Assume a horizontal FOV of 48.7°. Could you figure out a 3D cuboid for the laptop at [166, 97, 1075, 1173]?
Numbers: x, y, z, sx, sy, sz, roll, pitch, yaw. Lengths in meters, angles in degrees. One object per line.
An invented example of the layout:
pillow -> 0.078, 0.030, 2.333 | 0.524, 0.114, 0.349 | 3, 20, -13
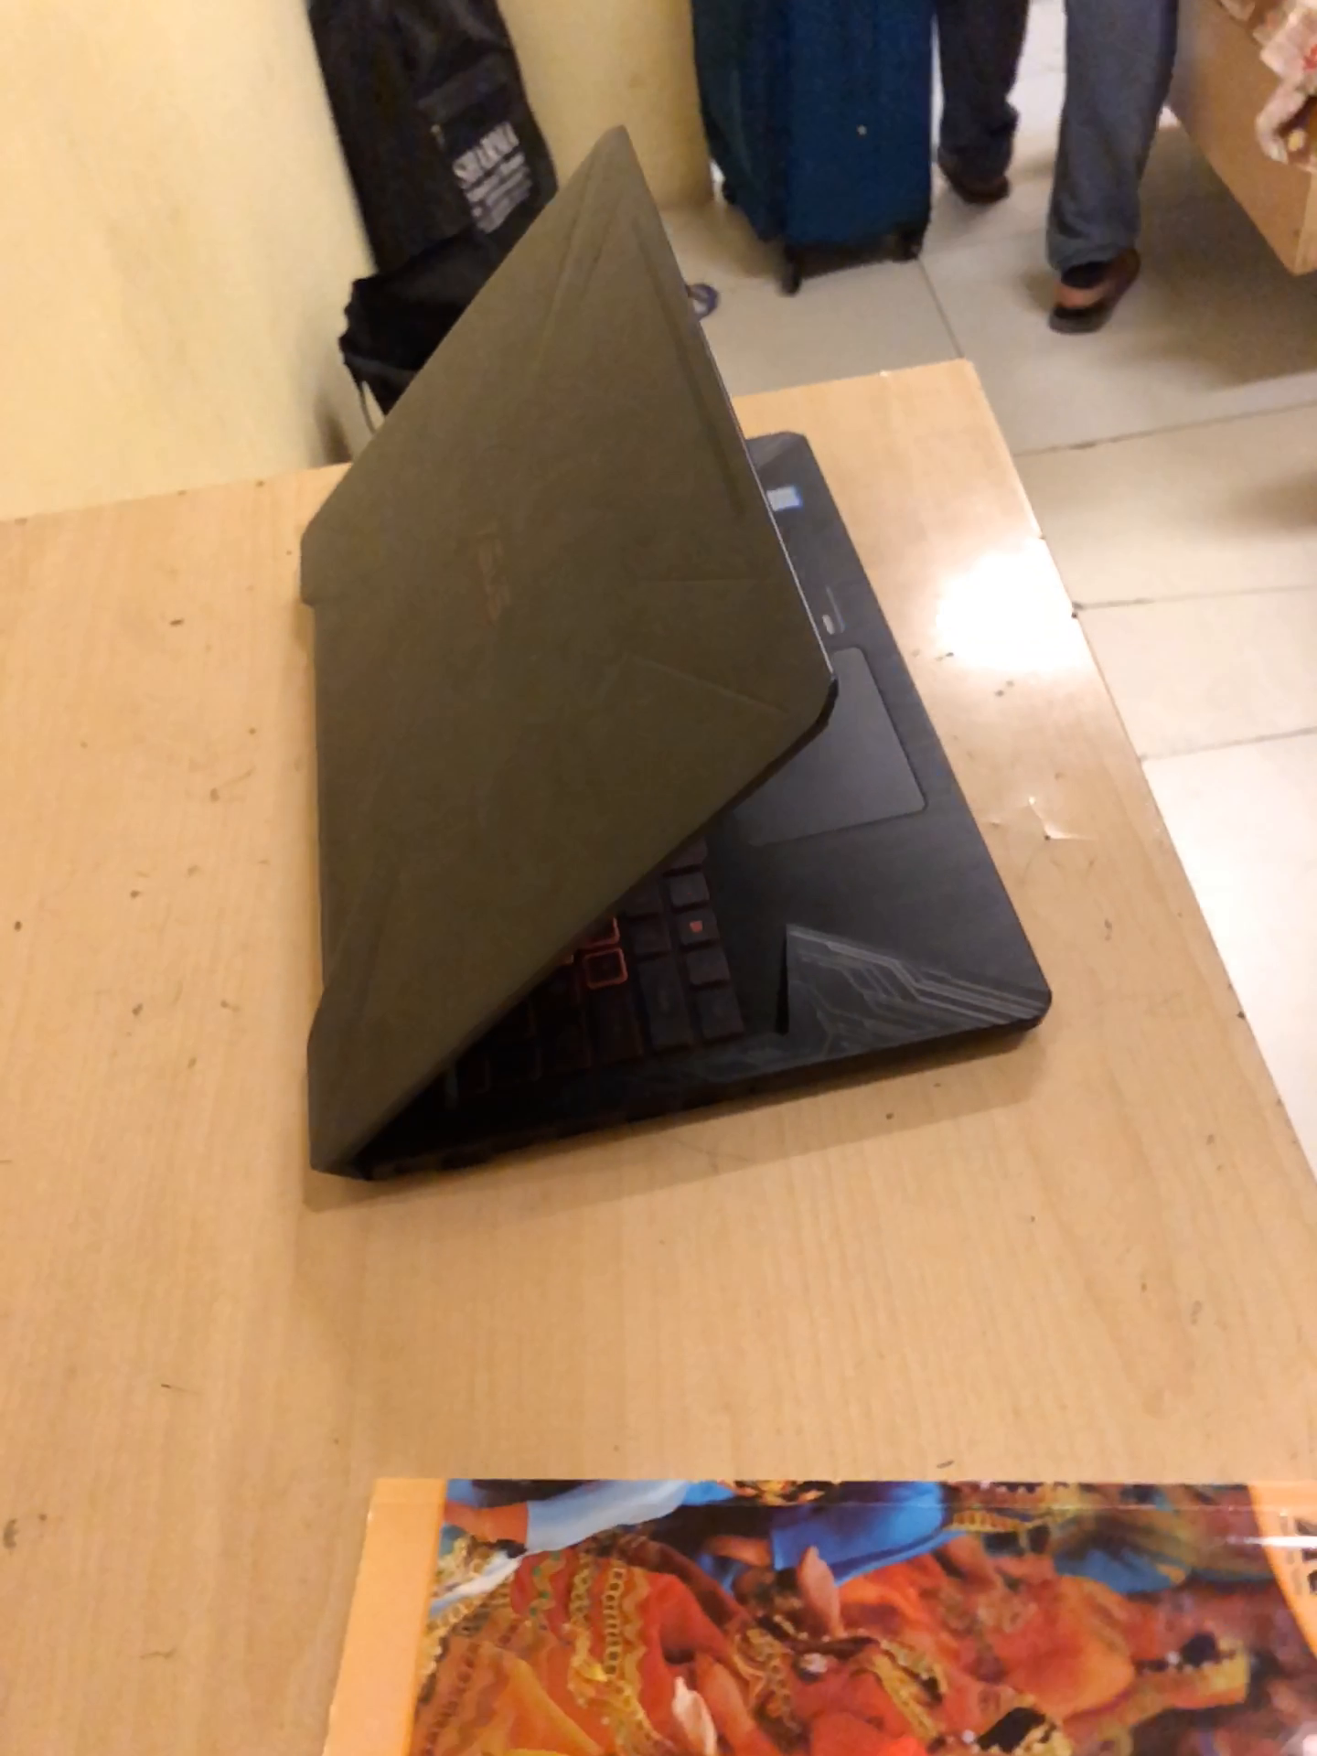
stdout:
laptop -> -0.031, -0.118, 0.577 | 0.252, 0.173, 0.371 | -13, 49, 0
